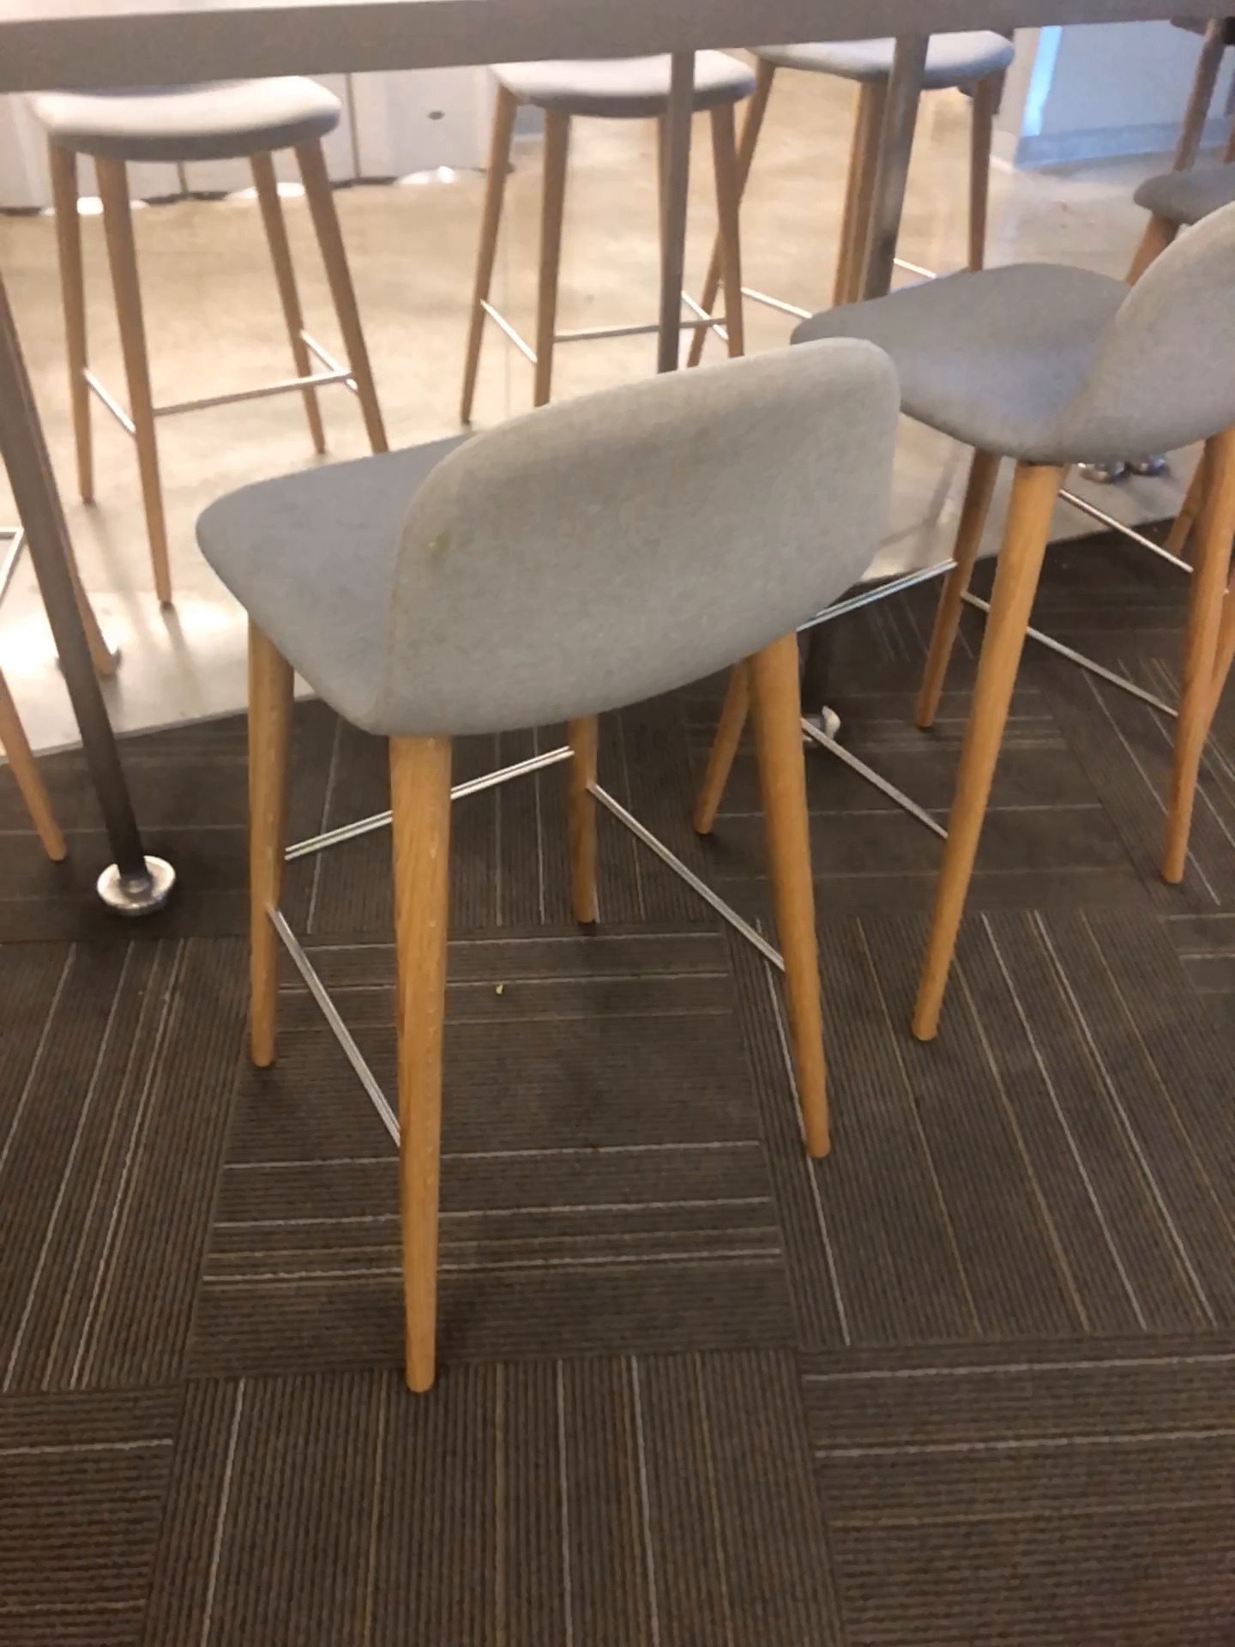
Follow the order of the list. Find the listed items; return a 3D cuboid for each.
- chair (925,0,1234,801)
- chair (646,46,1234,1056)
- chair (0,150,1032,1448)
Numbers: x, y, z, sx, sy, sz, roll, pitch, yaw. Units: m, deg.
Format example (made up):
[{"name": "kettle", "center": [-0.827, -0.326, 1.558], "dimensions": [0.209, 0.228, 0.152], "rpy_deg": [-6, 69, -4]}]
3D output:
[{"name": "chair", "center": [0.953, -0.669, 2.117], "dimensions": [0.542, 1.031, 0.543], "rpy_deg": [-20, 44, -24]}, {"name": "chair", "center": [0.441, -0.329, 1.636], "dimensions": [0.573, 0.942, 0.542], "rpy_deg": [-23, 46, -27]}, {"name": "chair", "center": [-0.114, -0.023, 1.274], "dimensions": [0.573, 0.942, 0.542], "rpy_deg": [-23, 46, -27]}]
